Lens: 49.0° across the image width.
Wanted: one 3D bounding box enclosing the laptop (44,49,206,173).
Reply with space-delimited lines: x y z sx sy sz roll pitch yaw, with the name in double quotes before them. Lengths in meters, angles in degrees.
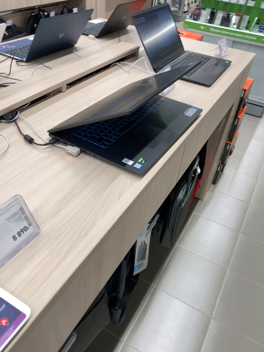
"laptop" 0.003 -0.211 0.801 0.271 0.129 0.391 24 41 19
